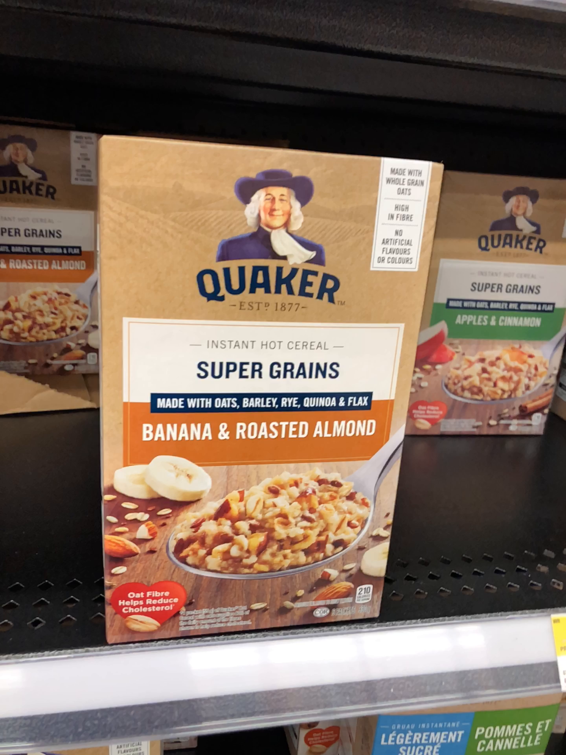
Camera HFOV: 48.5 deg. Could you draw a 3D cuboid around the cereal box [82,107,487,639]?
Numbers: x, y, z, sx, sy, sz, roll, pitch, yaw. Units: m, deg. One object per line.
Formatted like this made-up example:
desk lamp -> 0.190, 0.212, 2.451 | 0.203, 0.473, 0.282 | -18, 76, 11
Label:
cereal box -> -0.010, -0.001, 0.258 | 0.130, 0.189, 0.070 | 0, 20, -14
